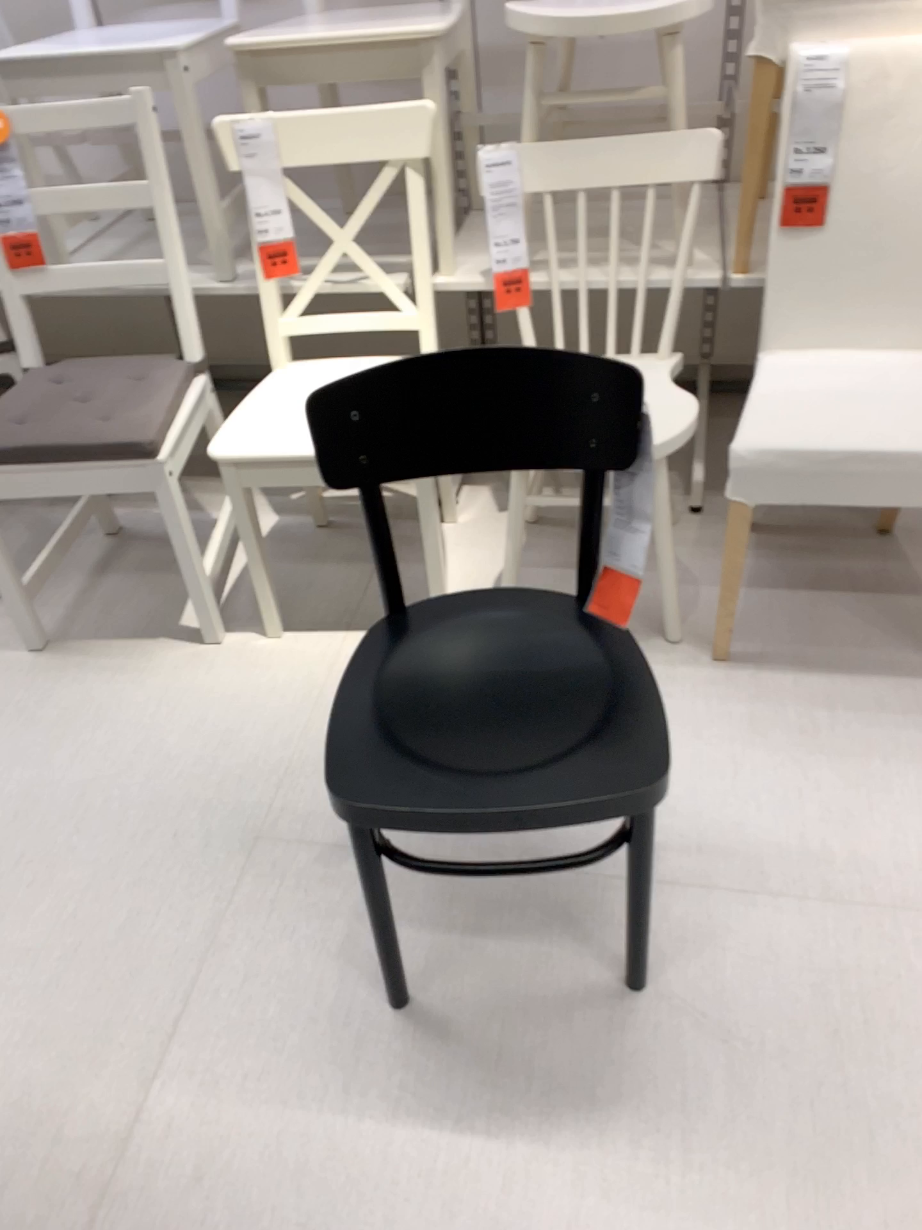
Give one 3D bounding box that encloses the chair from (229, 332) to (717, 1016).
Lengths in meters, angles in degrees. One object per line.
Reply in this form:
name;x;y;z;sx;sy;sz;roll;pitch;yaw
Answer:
chair;0.036;0.105;1.240;0.430;0.767;0.472;-5;40;2
